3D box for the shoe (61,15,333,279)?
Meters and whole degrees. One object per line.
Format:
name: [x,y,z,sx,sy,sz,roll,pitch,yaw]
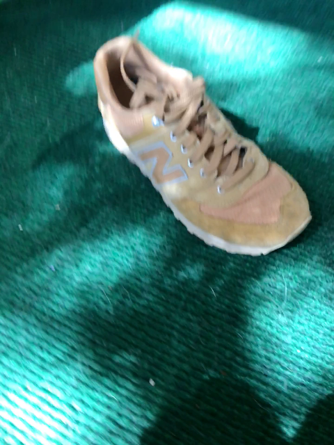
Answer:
shoe: [0.034,-0.083,0.360,0.260,0.100,0.110,38,68,22]
